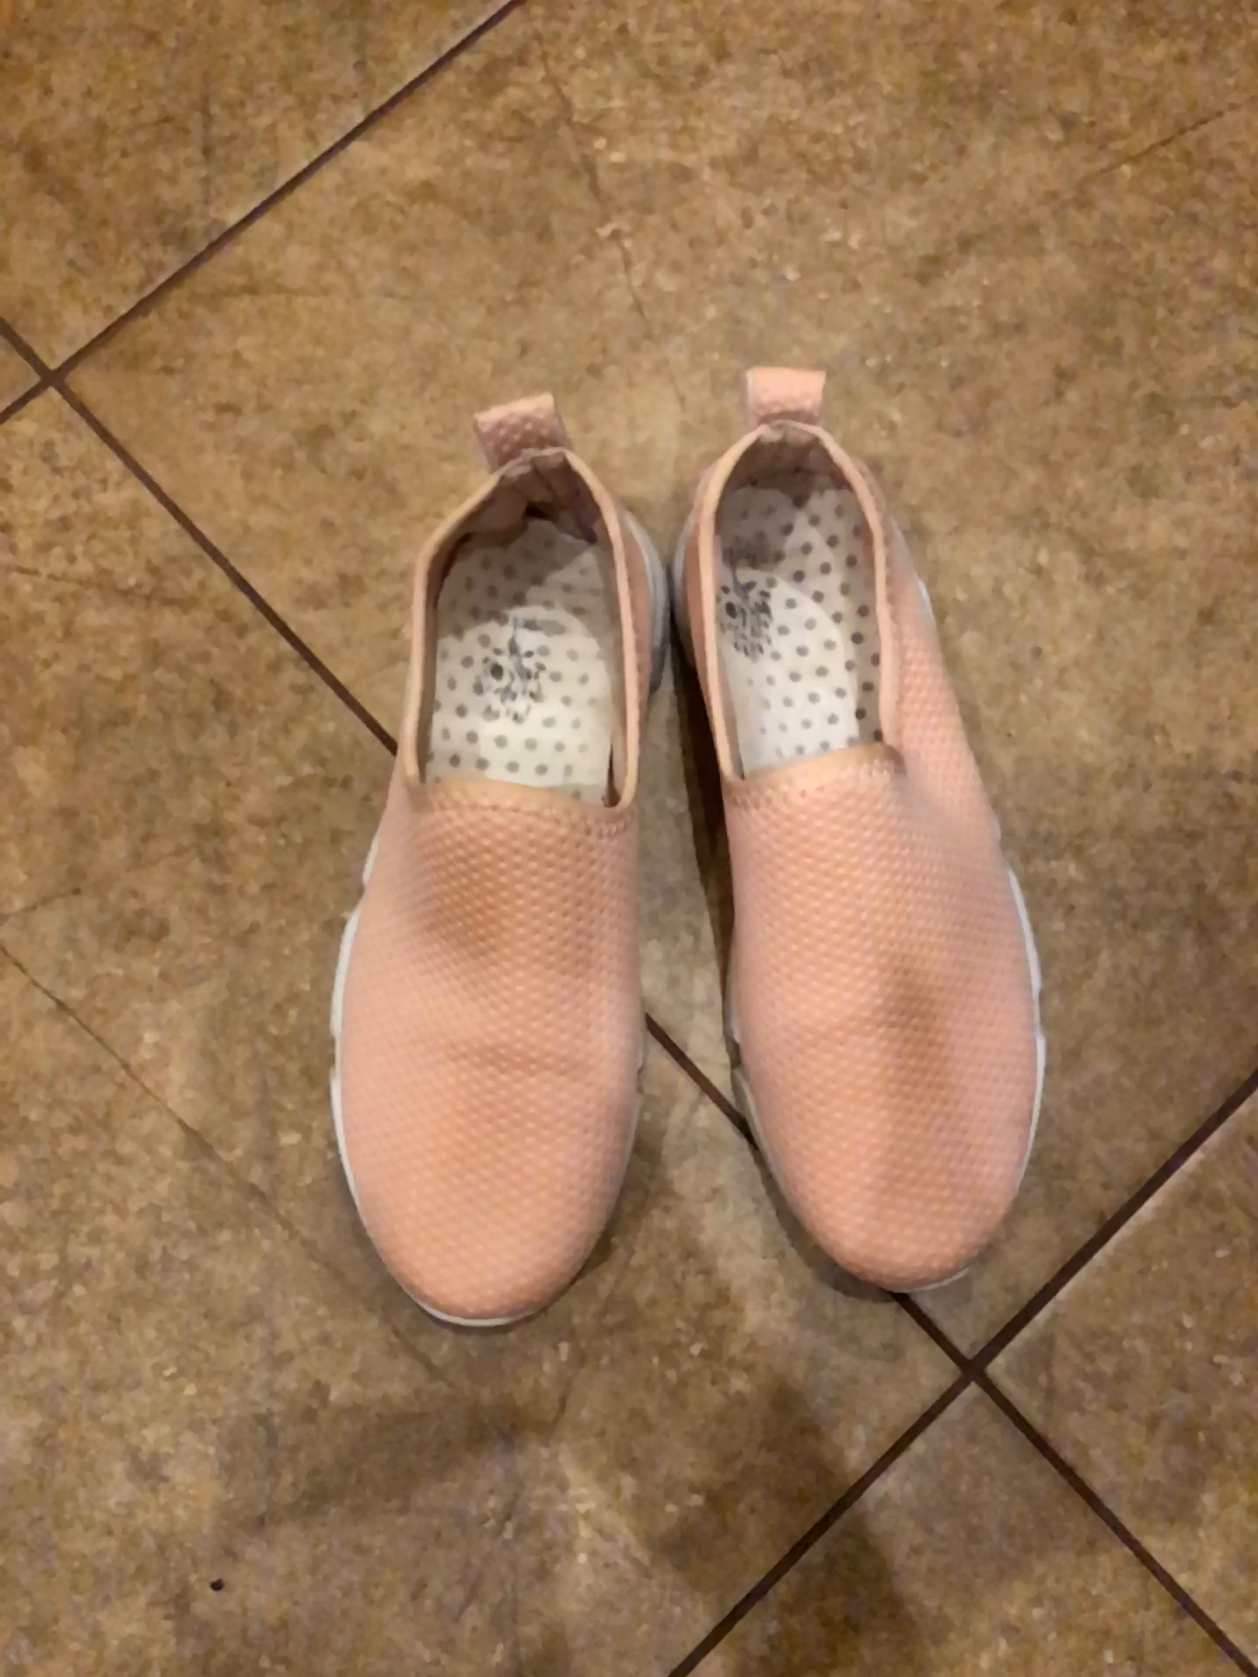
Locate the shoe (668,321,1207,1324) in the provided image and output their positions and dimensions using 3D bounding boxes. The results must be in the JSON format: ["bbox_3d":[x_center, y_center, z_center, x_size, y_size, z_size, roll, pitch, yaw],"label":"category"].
[{"bbox_3d":[0.068,-0.002,0.373,0.090,0.100,0.230,-6,78,0],"label":"shoe"}]

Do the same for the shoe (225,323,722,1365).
[{"bbox_3d":[-0.030,0.004,0.381,0.090,0.120,0.240,4,78,2],"label":"shoe"}]
